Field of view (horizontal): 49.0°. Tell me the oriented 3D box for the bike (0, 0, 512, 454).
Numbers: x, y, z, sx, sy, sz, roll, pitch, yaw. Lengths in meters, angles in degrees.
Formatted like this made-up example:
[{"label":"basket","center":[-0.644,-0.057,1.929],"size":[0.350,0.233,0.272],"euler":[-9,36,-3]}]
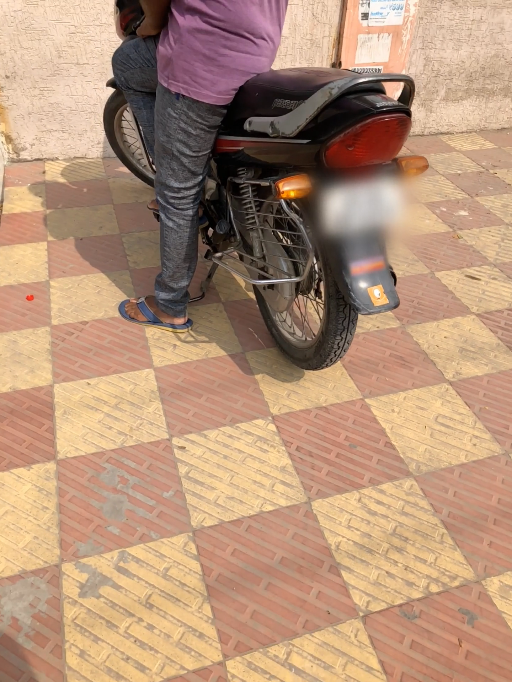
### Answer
[{"label":"bike","center":[-0.272,-0.702,1.868],"size":[0.895,1.066,1.726],"euler":[-20,45,-26]}]
